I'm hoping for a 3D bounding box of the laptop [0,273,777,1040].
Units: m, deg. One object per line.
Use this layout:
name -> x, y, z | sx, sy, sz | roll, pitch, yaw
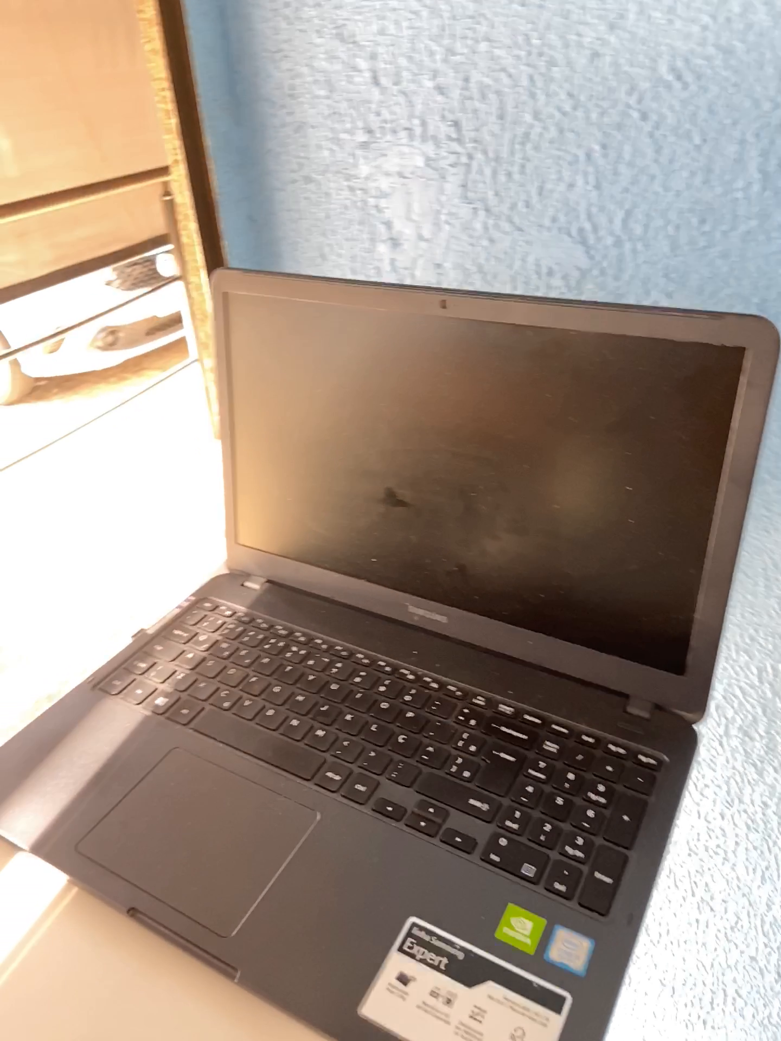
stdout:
laptop -> -0.034, 0.032, 0.434 | 0.371, 0.232, 0.287 | 13, 35, 28
